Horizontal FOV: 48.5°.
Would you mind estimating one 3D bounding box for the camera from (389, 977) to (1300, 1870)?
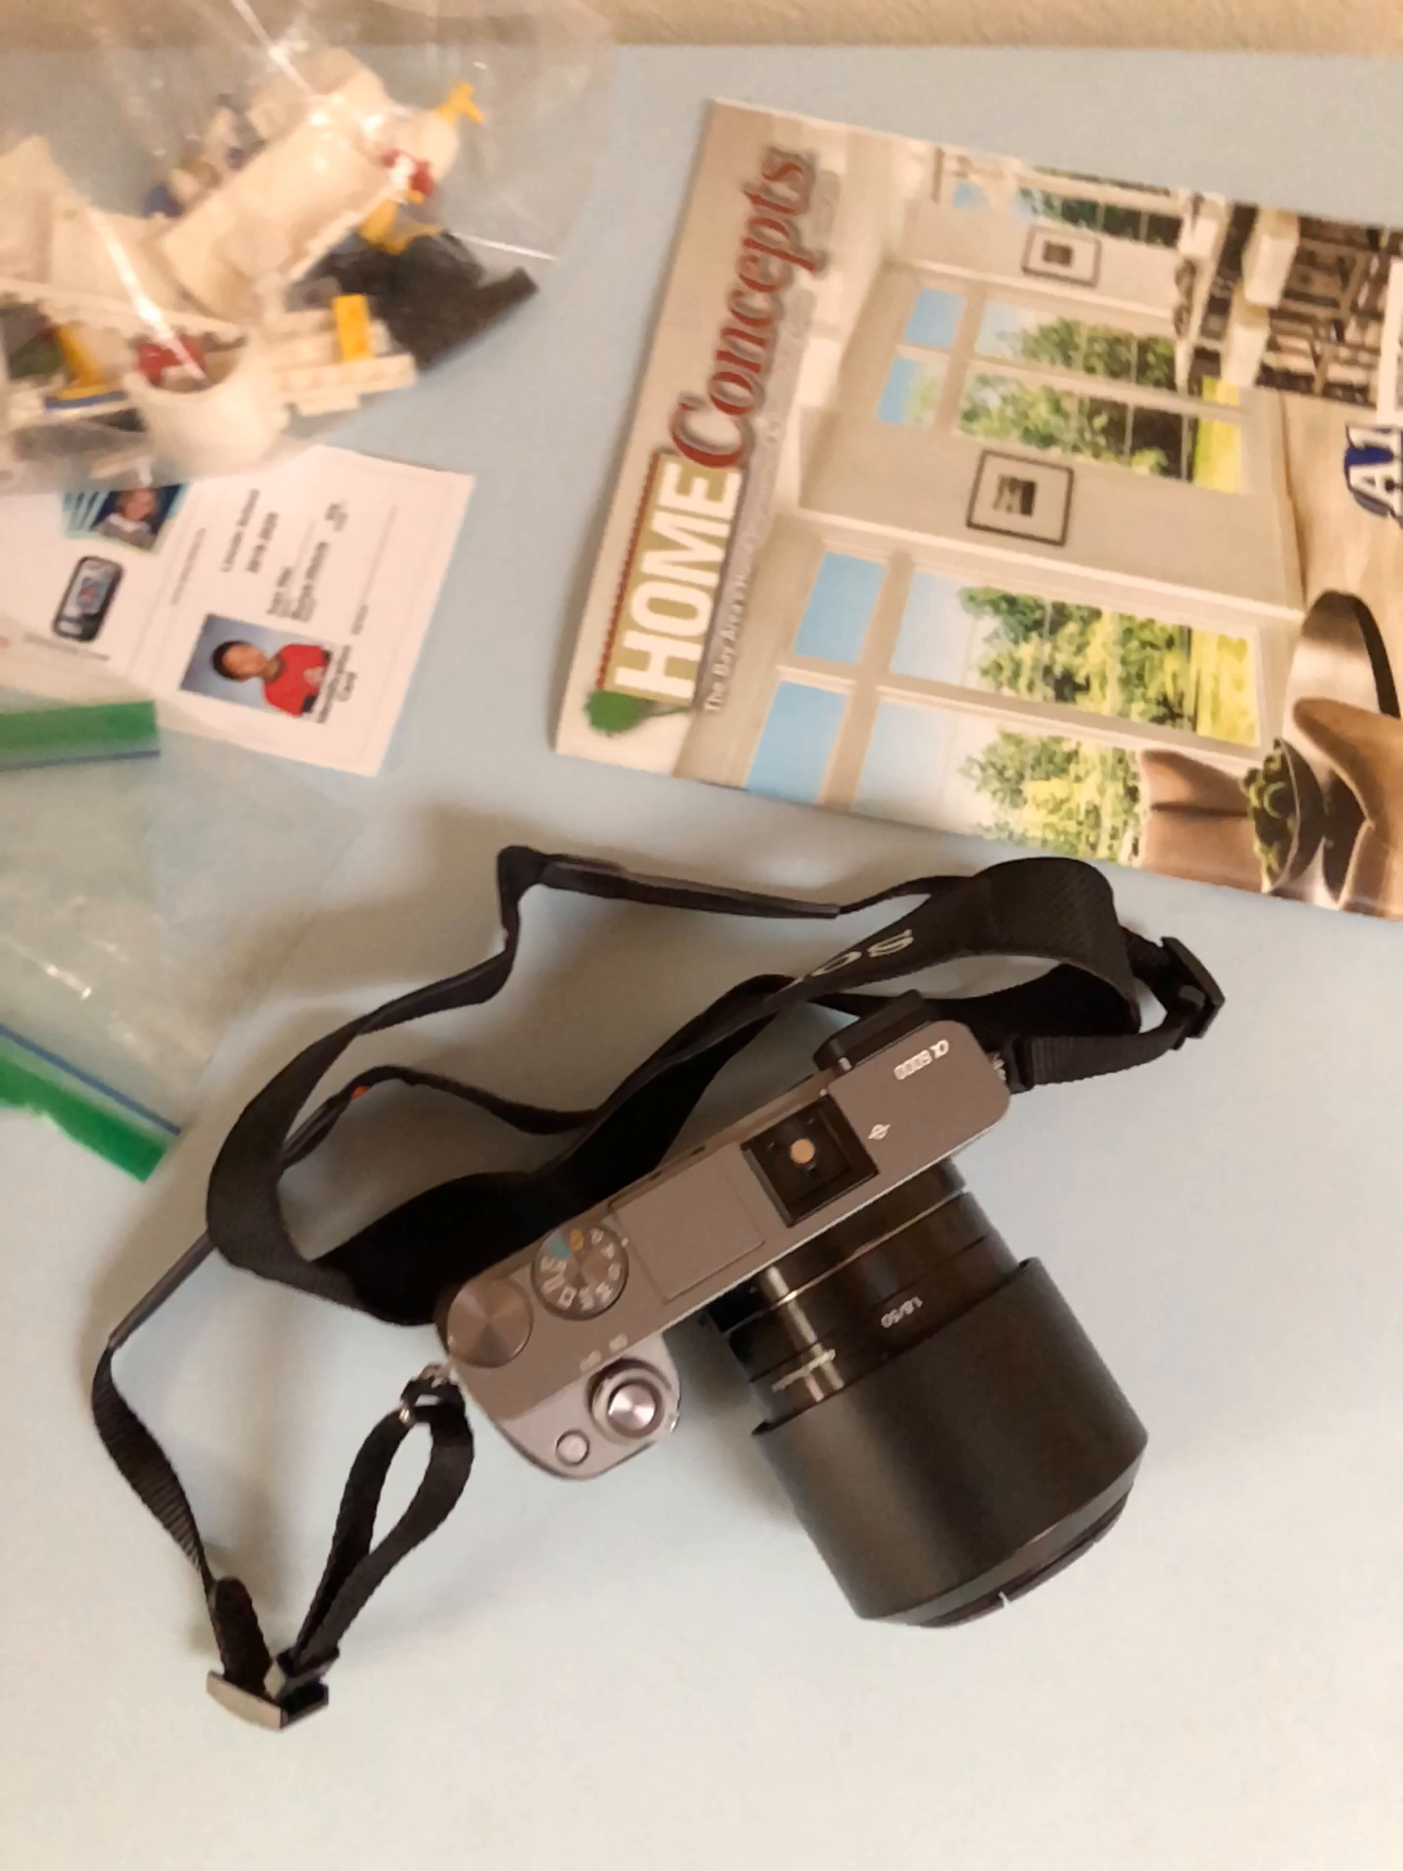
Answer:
[{"bbox_3d":[0.025,0.095,0.320,0.130,0.070,0.110,-29,77,-10],"label":"camera"}]
